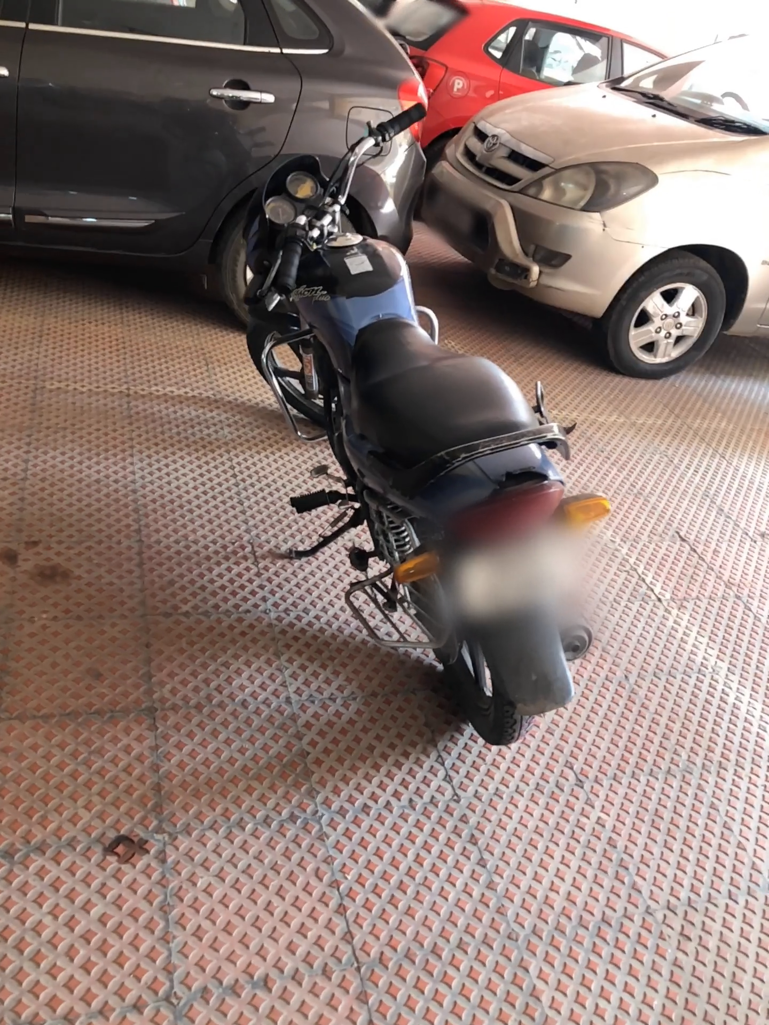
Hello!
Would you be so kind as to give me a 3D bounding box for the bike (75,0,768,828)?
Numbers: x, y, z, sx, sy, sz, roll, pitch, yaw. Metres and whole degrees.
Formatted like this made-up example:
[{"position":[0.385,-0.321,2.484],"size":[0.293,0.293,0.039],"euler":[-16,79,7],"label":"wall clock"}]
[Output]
[{"position":[-0.182,-0.386,1.987],"size":[0.735,1.072,1.694],"euler":[-5,39,-28],"label":"bike"}]
